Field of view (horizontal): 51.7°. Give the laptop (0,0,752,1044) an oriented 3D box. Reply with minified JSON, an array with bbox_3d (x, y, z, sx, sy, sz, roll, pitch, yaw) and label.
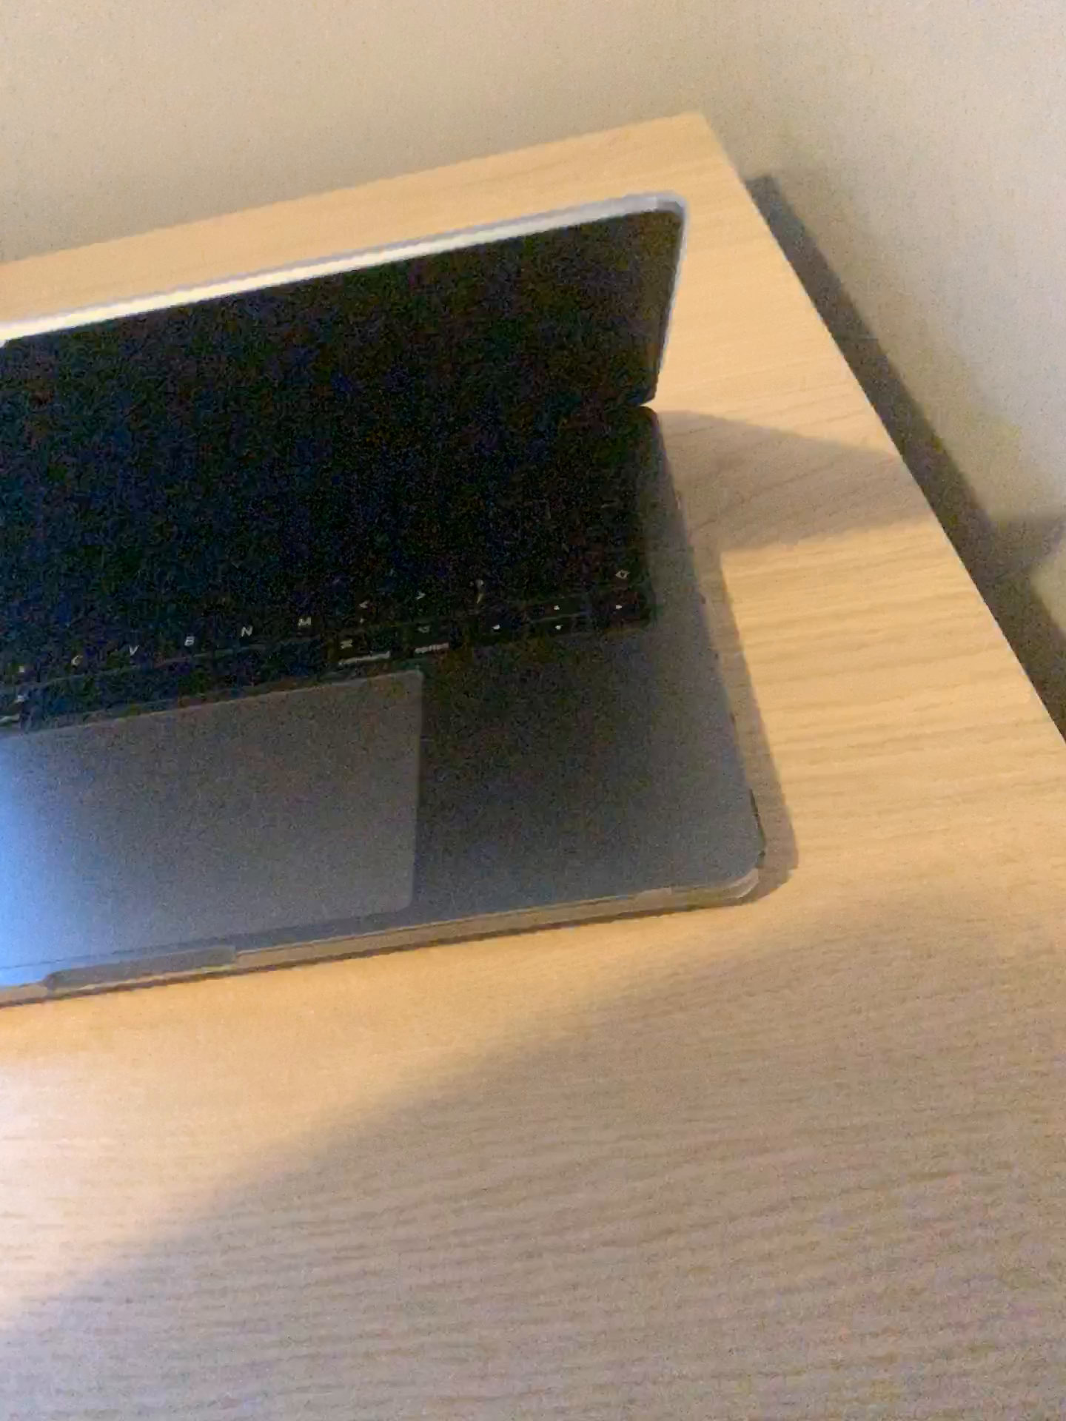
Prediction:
[{"bbox_3d":[-0.109,-0.058,0.285,0.290,0.130,0.205,-9,43,5],"label":"laptop"}]
